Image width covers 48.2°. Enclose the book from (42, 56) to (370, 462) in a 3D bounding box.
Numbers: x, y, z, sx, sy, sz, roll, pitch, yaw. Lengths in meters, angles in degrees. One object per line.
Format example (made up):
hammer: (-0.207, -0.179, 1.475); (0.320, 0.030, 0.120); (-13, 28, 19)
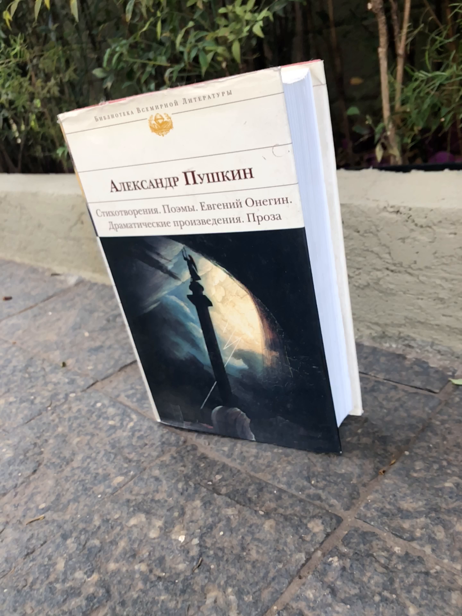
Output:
book: (-0.007, -0.021, 0.302); (0.150, 0.204, 0.050); (2, 27, 28)
